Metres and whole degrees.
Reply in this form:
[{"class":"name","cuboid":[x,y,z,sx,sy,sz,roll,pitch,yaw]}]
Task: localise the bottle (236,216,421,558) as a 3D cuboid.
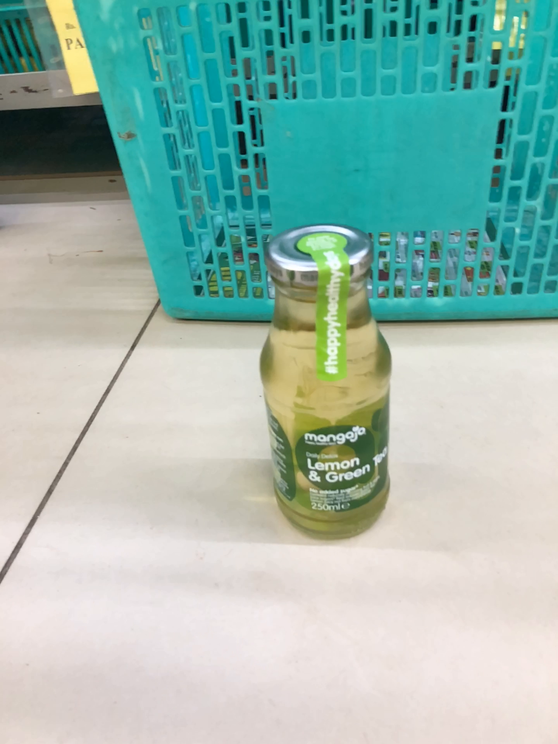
[{"class":"bottle","cuboid":[0.023,0.011,0.303,0.070,0.149,0.070,-4,34,3]}]
